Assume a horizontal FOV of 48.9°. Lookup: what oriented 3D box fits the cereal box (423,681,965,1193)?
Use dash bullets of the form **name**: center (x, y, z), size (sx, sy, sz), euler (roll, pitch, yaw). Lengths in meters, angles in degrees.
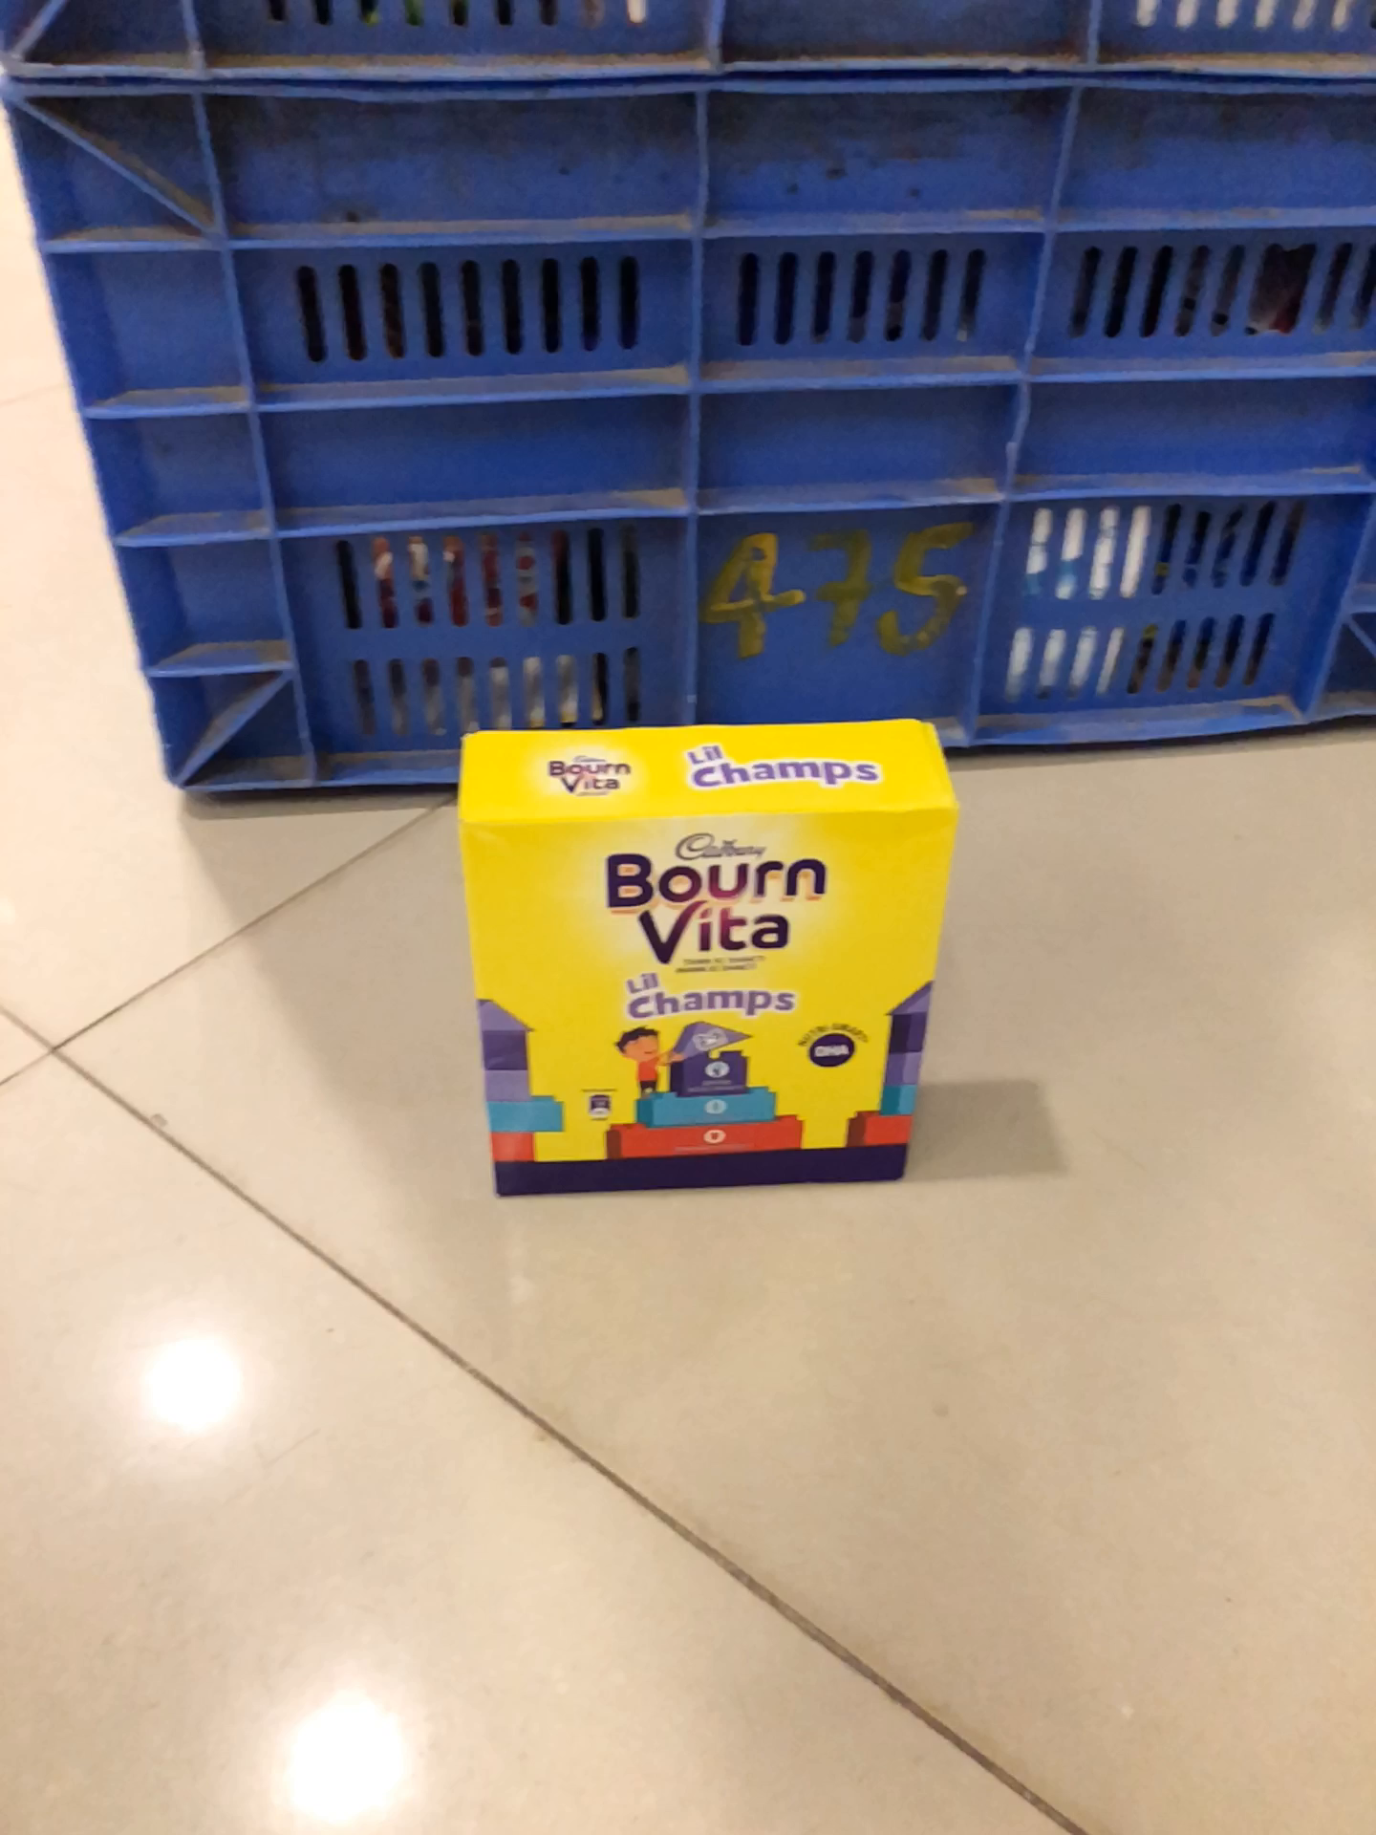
- **cereal box**: center (0.001, 0.012, 0.491), size (0.150, 0.169, 0.050), euler (-2, 39, -2)
